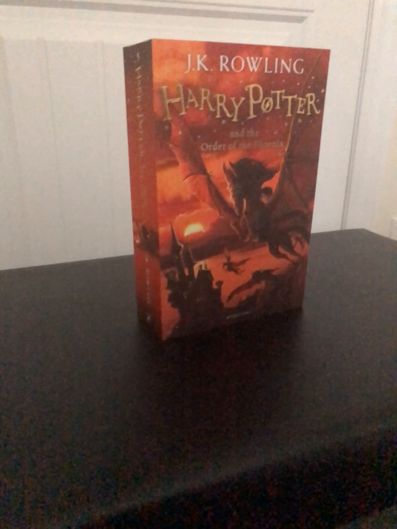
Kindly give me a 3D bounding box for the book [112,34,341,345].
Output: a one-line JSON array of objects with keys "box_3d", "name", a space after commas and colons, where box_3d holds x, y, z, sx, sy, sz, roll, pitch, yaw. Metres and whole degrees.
[{"box_3d": [0.019, -0.055, 0.325, 0.141, 0.189, 0.061, -10, 23, -27], "name": "book"}]
